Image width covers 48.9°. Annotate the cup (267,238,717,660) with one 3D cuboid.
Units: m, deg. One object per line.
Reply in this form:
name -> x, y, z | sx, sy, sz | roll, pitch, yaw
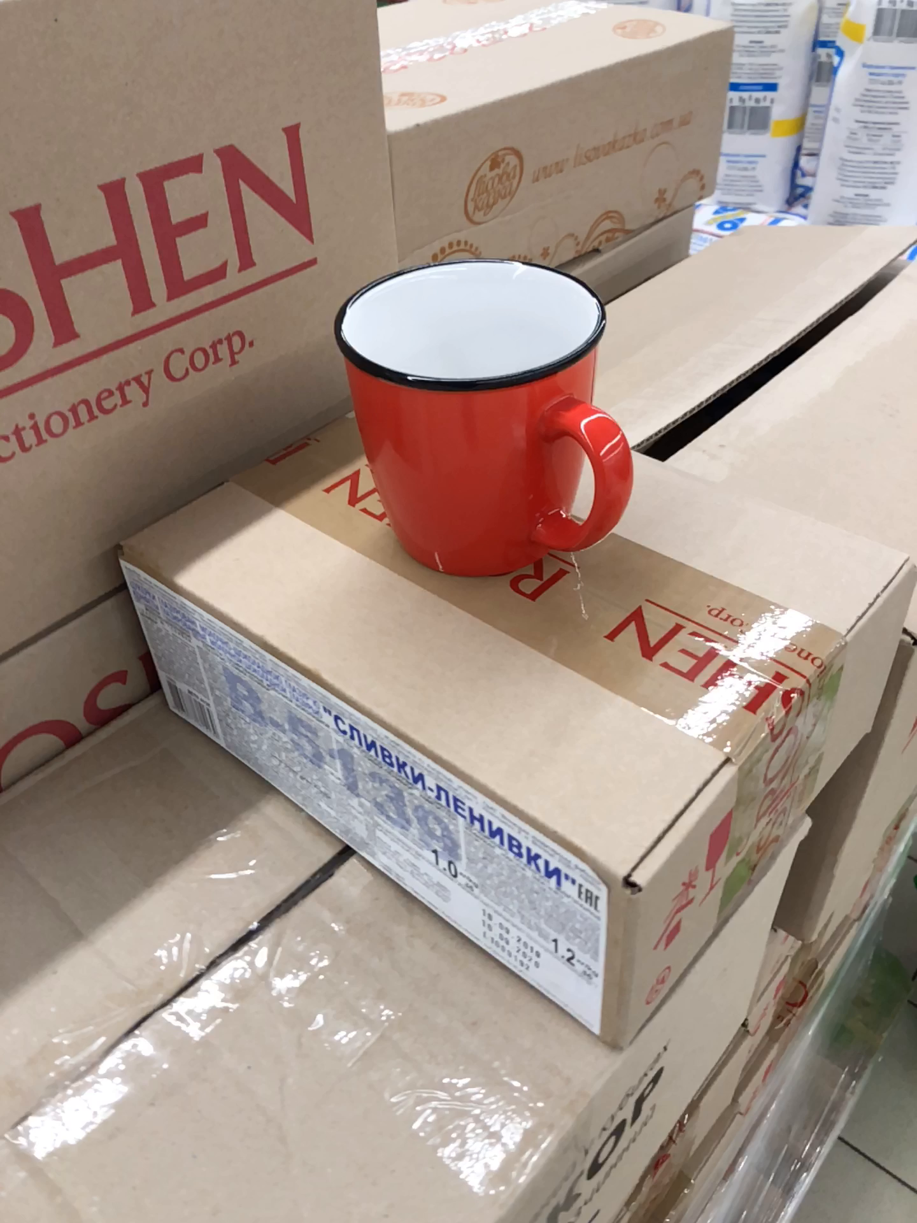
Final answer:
cup -> 0.011, -0.068, 0.382 | 0.096, 0.089, 0.127 | -33, 48, -31
